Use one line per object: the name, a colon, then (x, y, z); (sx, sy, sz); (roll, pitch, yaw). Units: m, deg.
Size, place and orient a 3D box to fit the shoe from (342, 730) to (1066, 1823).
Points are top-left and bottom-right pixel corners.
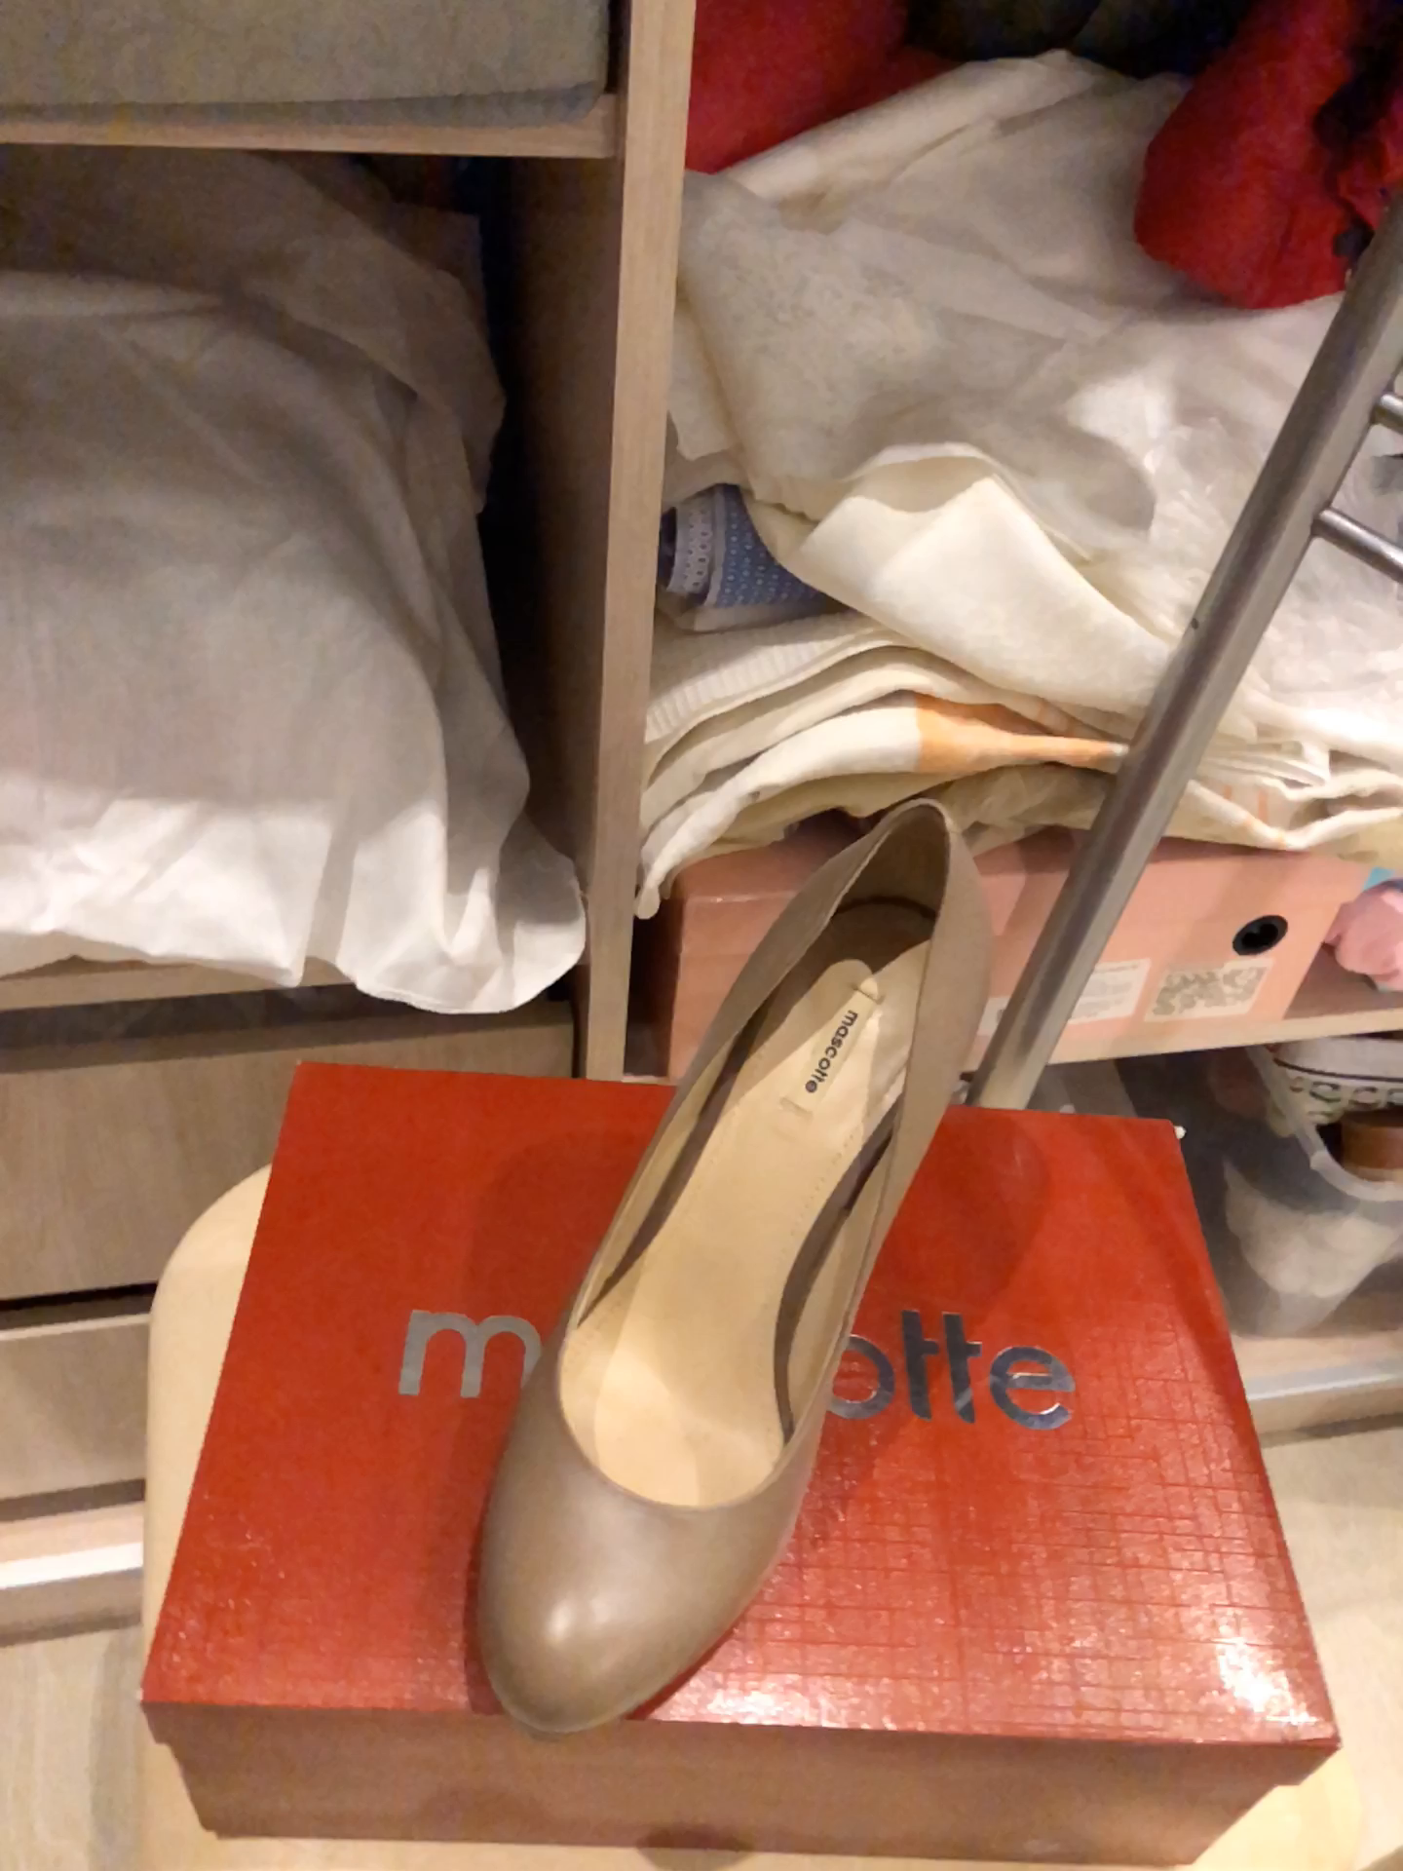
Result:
shoe: (0.009, 0.075, 0.393); (0.083, 0.145, 0.216); (20, 45, 13)
